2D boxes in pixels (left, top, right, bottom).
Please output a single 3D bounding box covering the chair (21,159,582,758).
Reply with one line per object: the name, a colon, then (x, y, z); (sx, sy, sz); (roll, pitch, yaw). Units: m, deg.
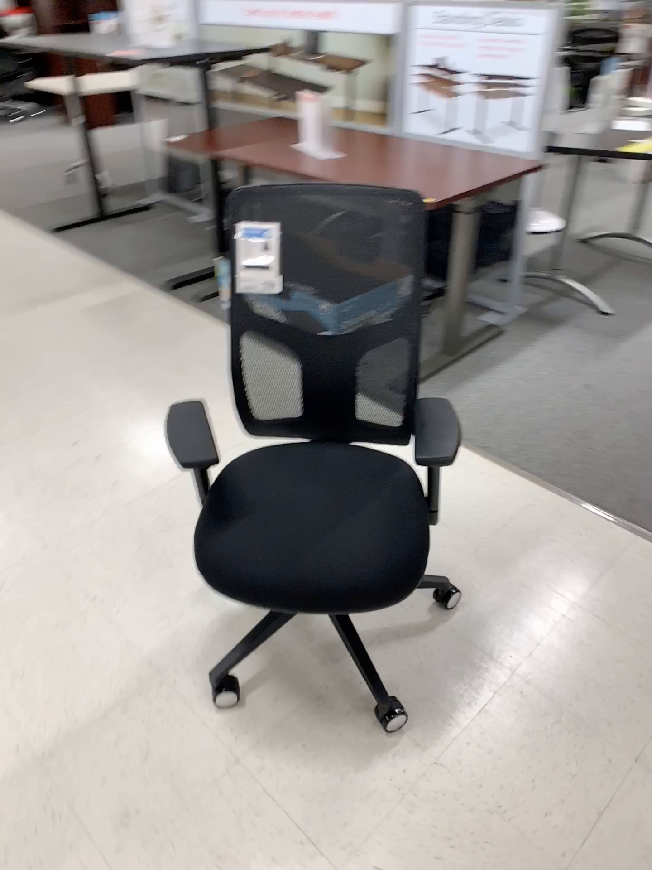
chair: (-0.009, 0.031, 1.408); (0.700, 0.994, 0.734); (2, 35, 4)
